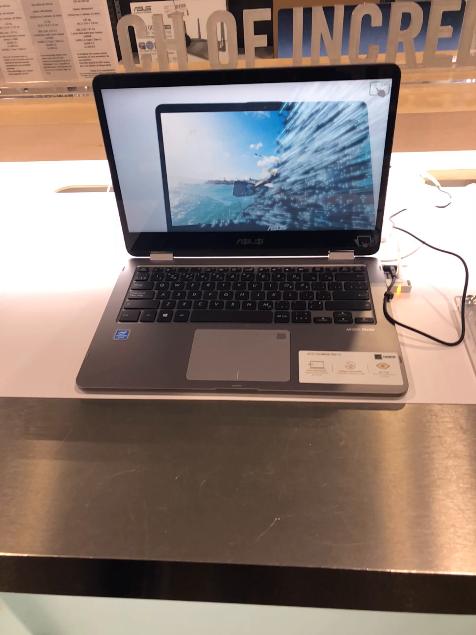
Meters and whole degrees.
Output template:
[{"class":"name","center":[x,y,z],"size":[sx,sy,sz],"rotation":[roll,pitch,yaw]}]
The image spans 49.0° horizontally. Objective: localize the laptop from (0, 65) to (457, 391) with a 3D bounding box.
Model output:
[{"class":"laptop","center":[0.001,-0.085,0.489],"size":[0.303,0.210,0.211],"rotation":[0,41,6]}]
